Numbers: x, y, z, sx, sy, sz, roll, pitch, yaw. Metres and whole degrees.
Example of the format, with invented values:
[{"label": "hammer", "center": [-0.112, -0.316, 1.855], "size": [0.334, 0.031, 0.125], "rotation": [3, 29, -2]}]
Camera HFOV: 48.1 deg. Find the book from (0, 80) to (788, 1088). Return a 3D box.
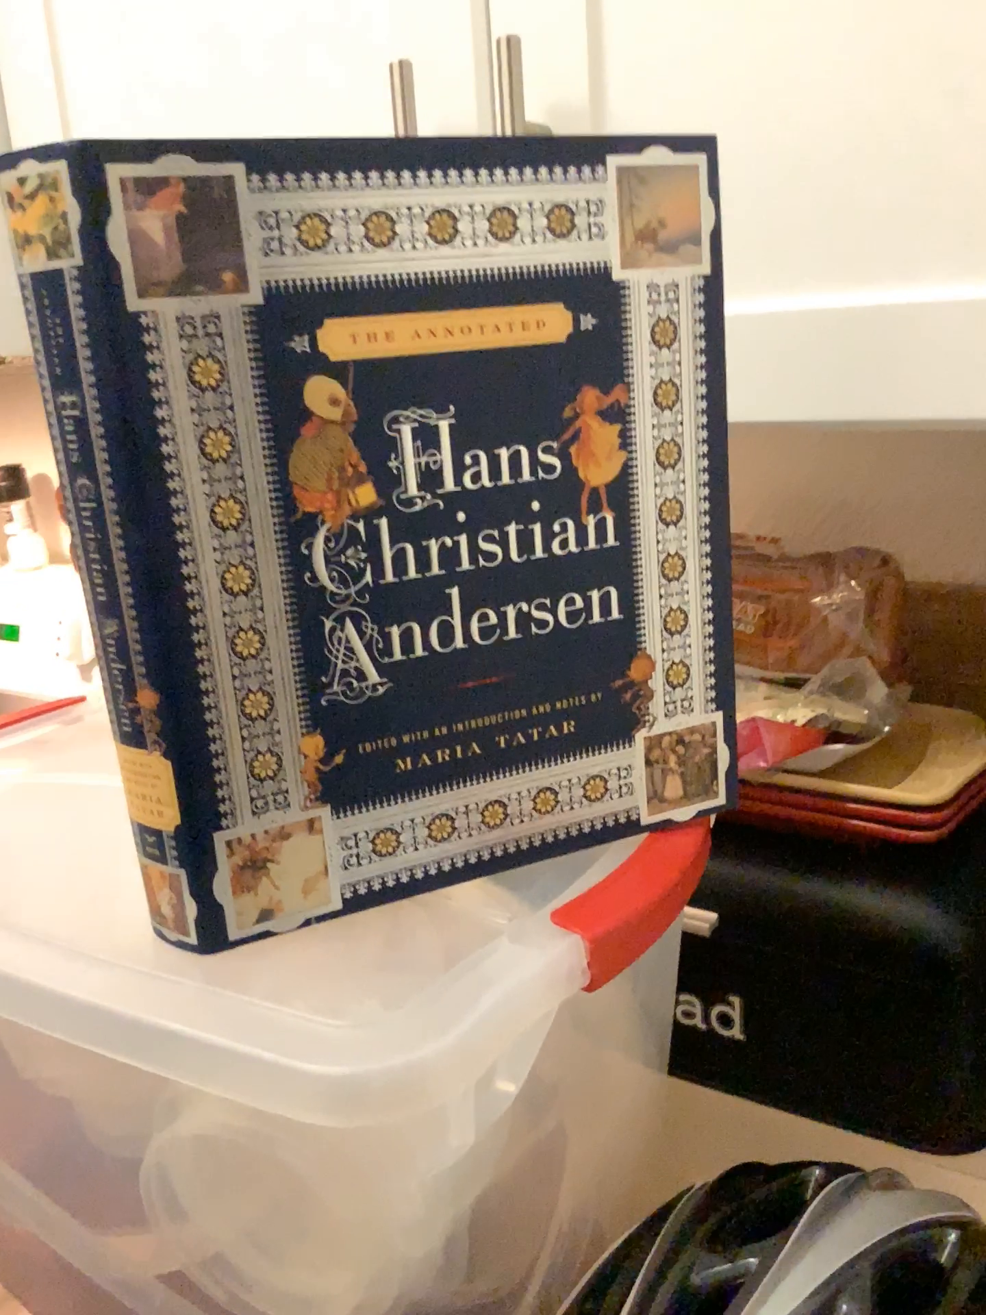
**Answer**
[{"label": "book", "center": [-0.042, -0.050, 0.429], "size": [0.200, 0.260, 0.250], "rotation": [13, 24, 41]}]
